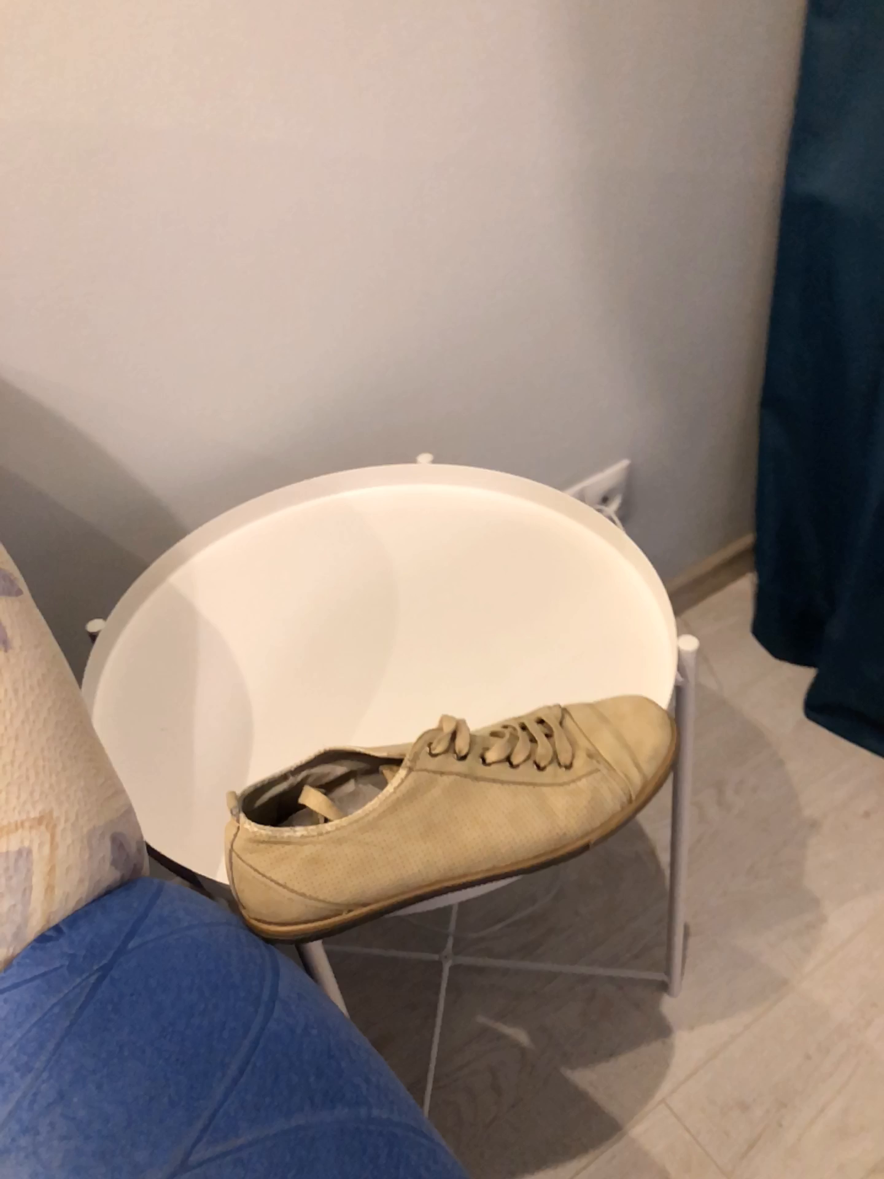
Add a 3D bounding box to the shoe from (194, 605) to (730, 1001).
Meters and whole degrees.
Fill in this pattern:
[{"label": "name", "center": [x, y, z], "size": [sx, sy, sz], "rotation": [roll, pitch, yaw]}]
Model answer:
[{"label": "shoe", "center": [0.014, 0.112, 0.565], "size": [0.280, 0.070, 0.111], "rotation": [-20, 39, -15]}]
